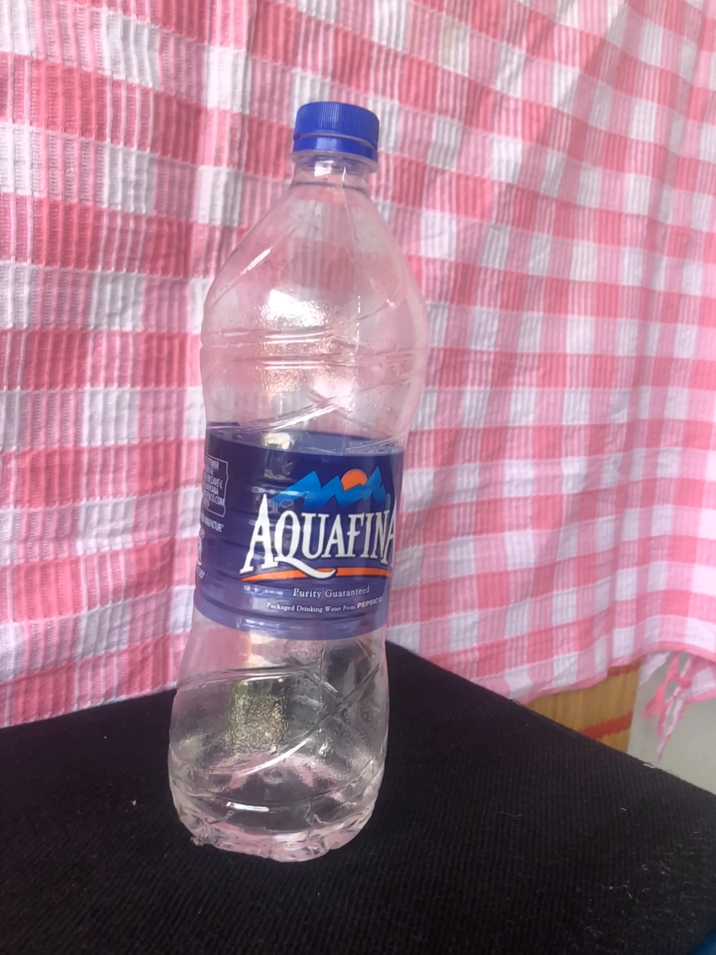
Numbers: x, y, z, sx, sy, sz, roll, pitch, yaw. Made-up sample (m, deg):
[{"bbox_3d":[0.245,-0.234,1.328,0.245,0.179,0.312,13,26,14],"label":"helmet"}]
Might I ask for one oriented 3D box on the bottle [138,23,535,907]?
[{"bbox_3d":[-0.017,0.004,0.277,0.090,0.259,0.070,4,10,-20],"label":"bottle"}]
